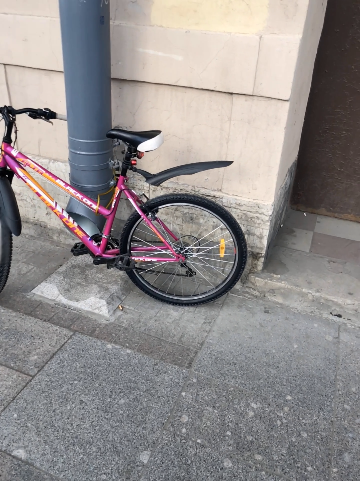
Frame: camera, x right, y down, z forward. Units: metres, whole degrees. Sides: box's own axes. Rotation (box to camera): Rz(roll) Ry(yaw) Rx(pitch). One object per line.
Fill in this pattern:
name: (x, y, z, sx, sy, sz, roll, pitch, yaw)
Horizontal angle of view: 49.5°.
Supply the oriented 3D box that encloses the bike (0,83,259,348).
bike: (-0.484, -0.201, 1.978, 1.574, 0.974, 0.626, 8, 29, 11)
